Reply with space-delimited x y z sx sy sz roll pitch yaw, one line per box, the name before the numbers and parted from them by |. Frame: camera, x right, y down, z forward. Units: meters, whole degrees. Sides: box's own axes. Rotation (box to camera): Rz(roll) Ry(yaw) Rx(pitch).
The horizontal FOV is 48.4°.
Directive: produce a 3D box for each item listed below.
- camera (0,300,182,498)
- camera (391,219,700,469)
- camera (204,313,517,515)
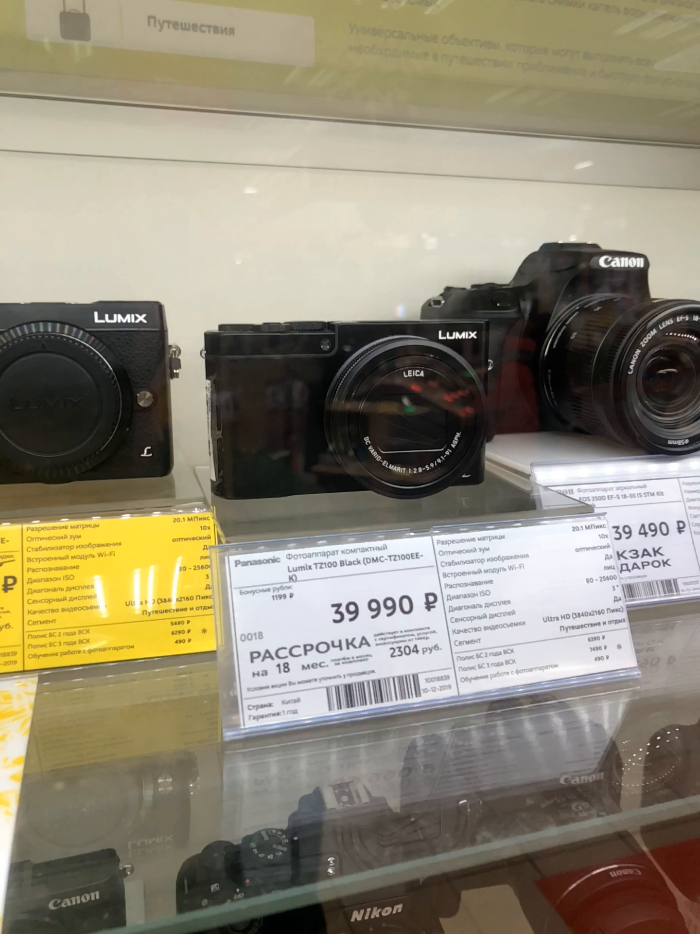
camera | -0.125 -0.031 0.309 0.108 0.068 0.055 -3 12 -15
camera | 0.124 -0.071 0.408 0.157 0.099 0.164 -3 14 -15
camera | 0.003 -0.024 0.297 0.111 0.068 0.038 -3 12 -15
